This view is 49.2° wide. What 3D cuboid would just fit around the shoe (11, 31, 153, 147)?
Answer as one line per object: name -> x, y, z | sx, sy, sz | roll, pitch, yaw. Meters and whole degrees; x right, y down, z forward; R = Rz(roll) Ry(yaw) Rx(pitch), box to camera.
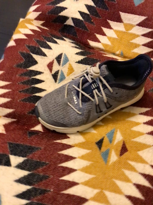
shoe -> 0.031, -0.019, 0.244 | 0.212, 0.074, 0.094 | -16, 68, -8
